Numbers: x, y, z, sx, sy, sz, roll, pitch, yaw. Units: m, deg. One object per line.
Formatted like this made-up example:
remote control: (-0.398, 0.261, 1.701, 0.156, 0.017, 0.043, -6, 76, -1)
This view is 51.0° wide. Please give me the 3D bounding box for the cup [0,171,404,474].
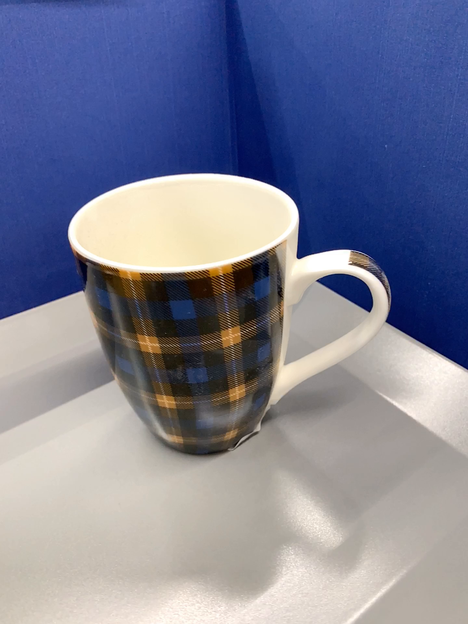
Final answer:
cup: (-0.008, 0.000, 0.209, 0.121, 0.089, 0.095, 0, 32, 3)
